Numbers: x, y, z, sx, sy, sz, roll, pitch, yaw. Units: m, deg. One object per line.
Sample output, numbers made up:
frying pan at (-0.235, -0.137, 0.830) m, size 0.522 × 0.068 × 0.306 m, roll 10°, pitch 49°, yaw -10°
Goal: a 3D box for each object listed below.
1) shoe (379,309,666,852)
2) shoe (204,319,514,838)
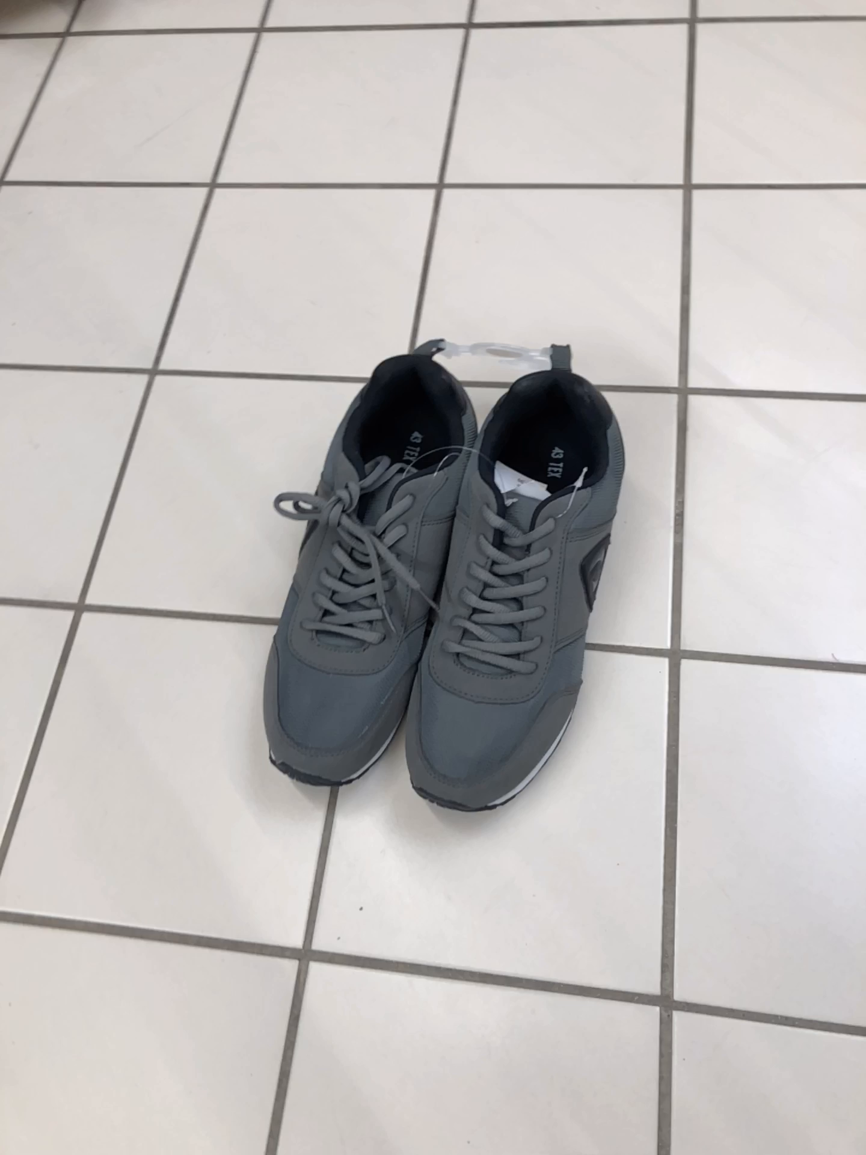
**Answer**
shoe at (0.061, -0.005, 0.555) m, size 0.100 × 0.100 × 0.291 m, roll 9°, pitch 66°, yaw 12°
shoe at (-0.030, -0.006, 0.581) m, size 0.100 × 0.100 × 0.291 m, roll 9°, pitch 66°, yaw 12°
